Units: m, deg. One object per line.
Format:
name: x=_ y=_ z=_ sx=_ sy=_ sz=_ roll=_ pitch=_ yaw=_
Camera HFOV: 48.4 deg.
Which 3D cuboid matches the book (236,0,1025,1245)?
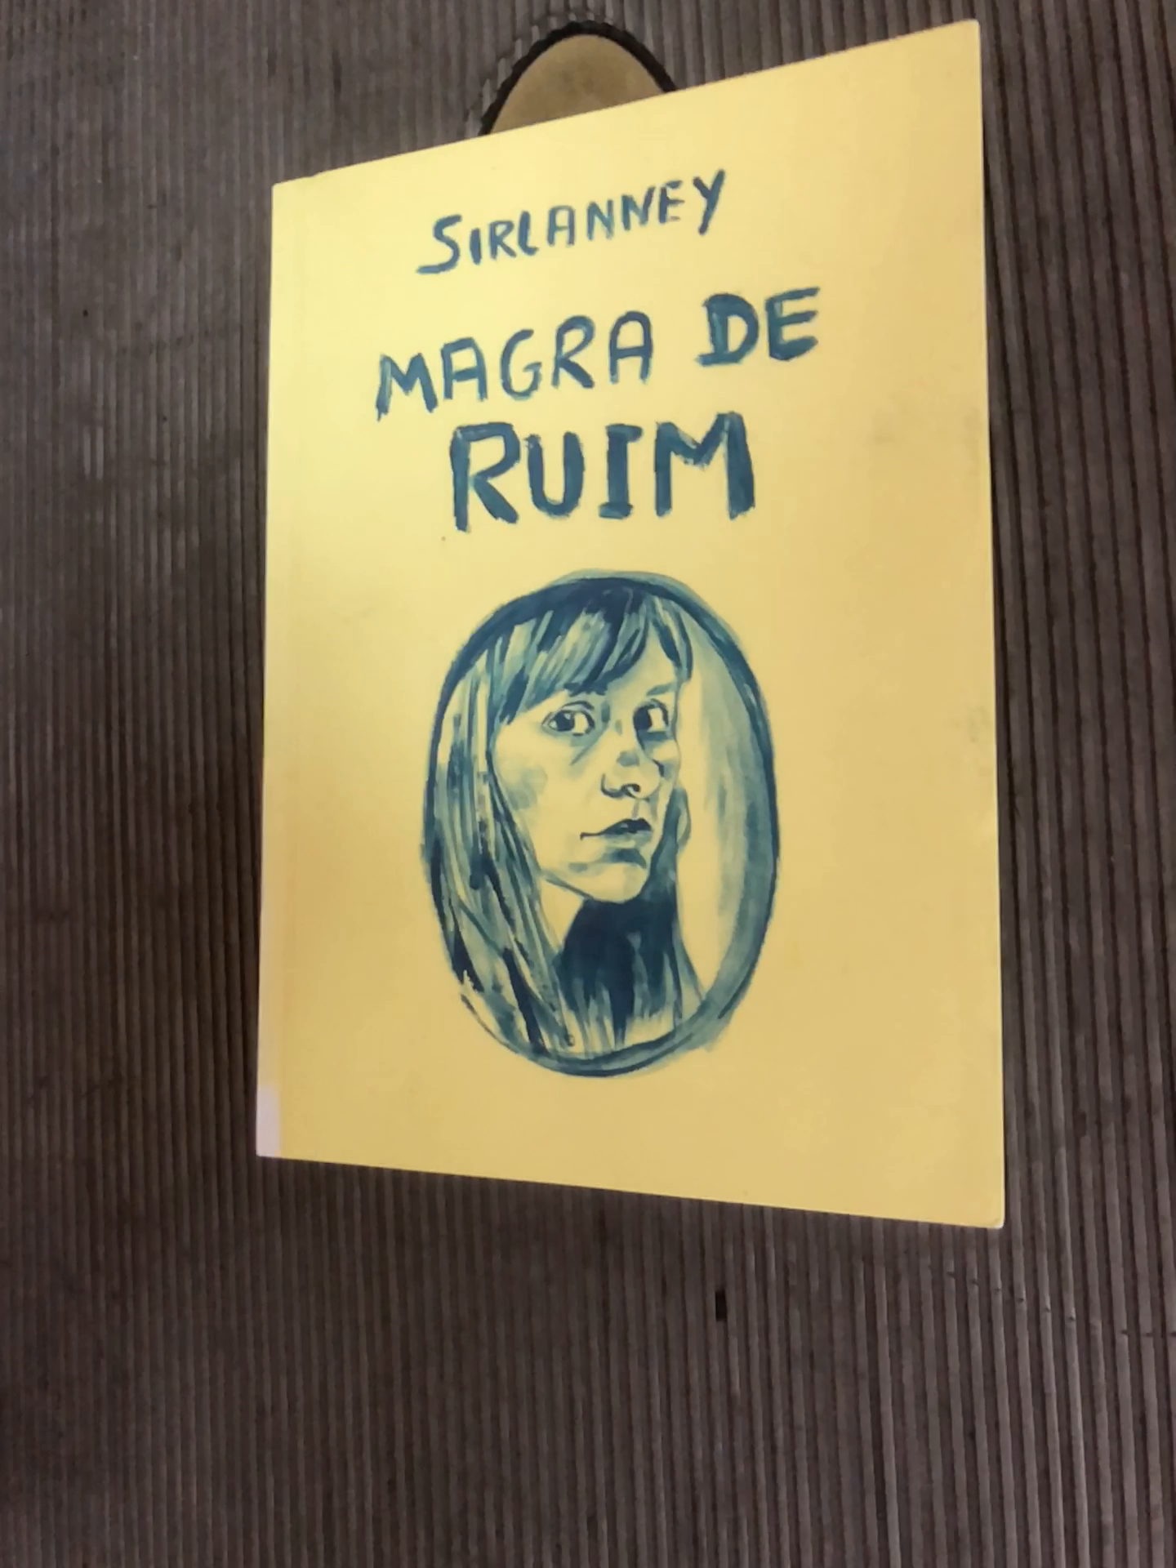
book: x=0.003 y=-0.030 z=0.250 sx=0.150 sy=0.020 sz=0.210 roll=-1 pitch=87 yaw=22
